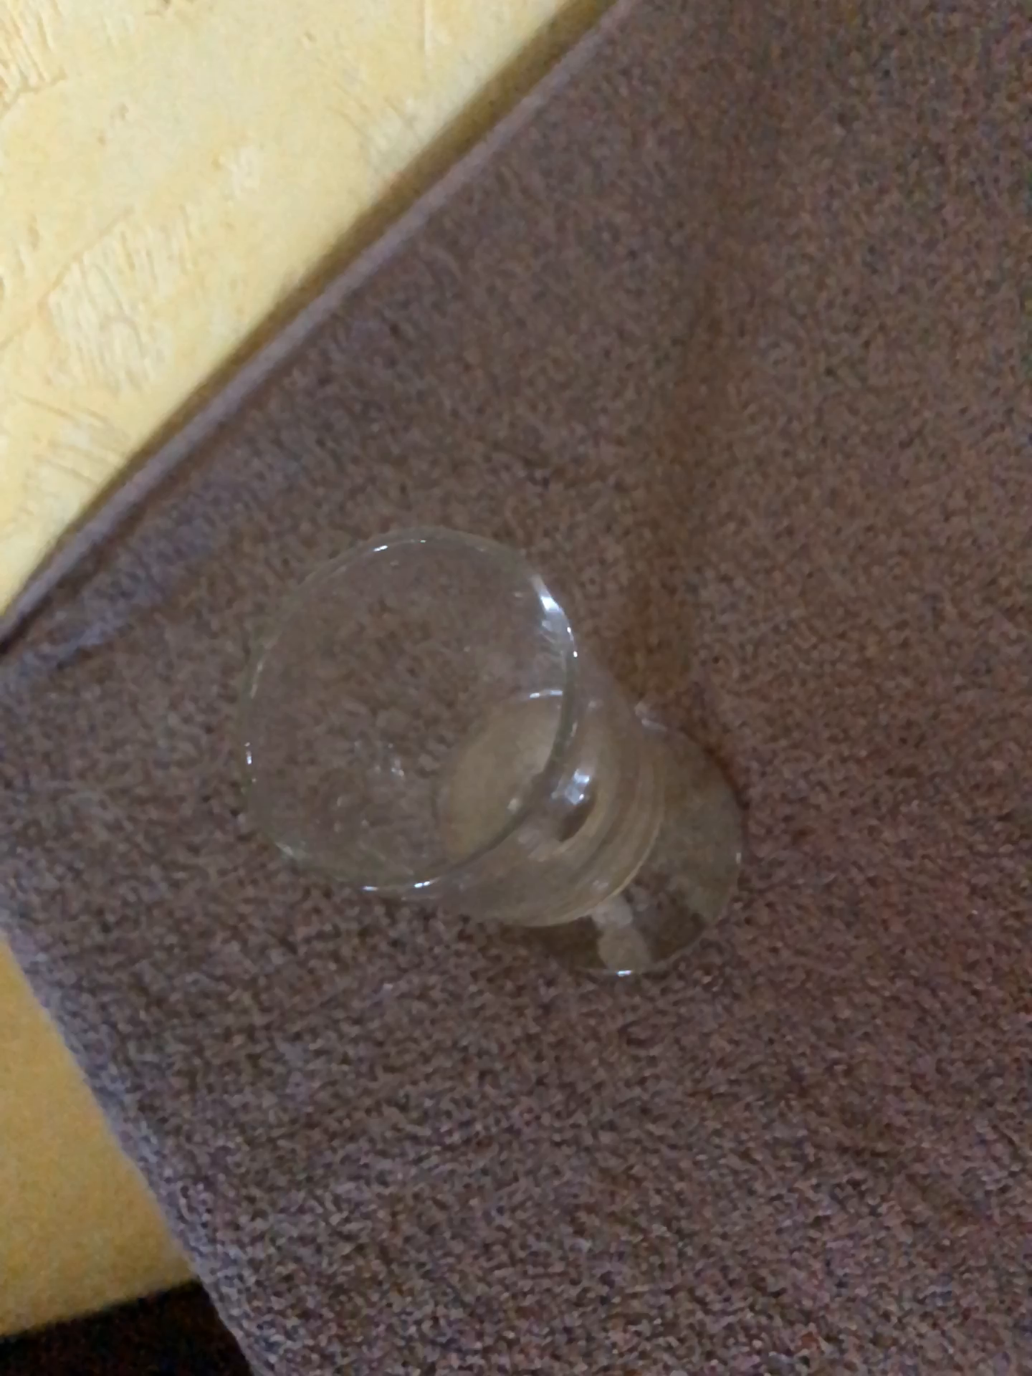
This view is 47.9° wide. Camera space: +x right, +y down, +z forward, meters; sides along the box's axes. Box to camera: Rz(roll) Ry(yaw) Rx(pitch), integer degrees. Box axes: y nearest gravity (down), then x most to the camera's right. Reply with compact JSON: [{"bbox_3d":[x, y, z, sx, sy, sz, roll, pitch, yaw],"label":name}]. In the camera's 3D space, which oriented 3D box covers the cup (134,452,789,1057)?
[{"bbox_3d":[-0.001,0.022,0.205,0.060,0.110,0.060,-6,71,19],"label":"cup"}]
